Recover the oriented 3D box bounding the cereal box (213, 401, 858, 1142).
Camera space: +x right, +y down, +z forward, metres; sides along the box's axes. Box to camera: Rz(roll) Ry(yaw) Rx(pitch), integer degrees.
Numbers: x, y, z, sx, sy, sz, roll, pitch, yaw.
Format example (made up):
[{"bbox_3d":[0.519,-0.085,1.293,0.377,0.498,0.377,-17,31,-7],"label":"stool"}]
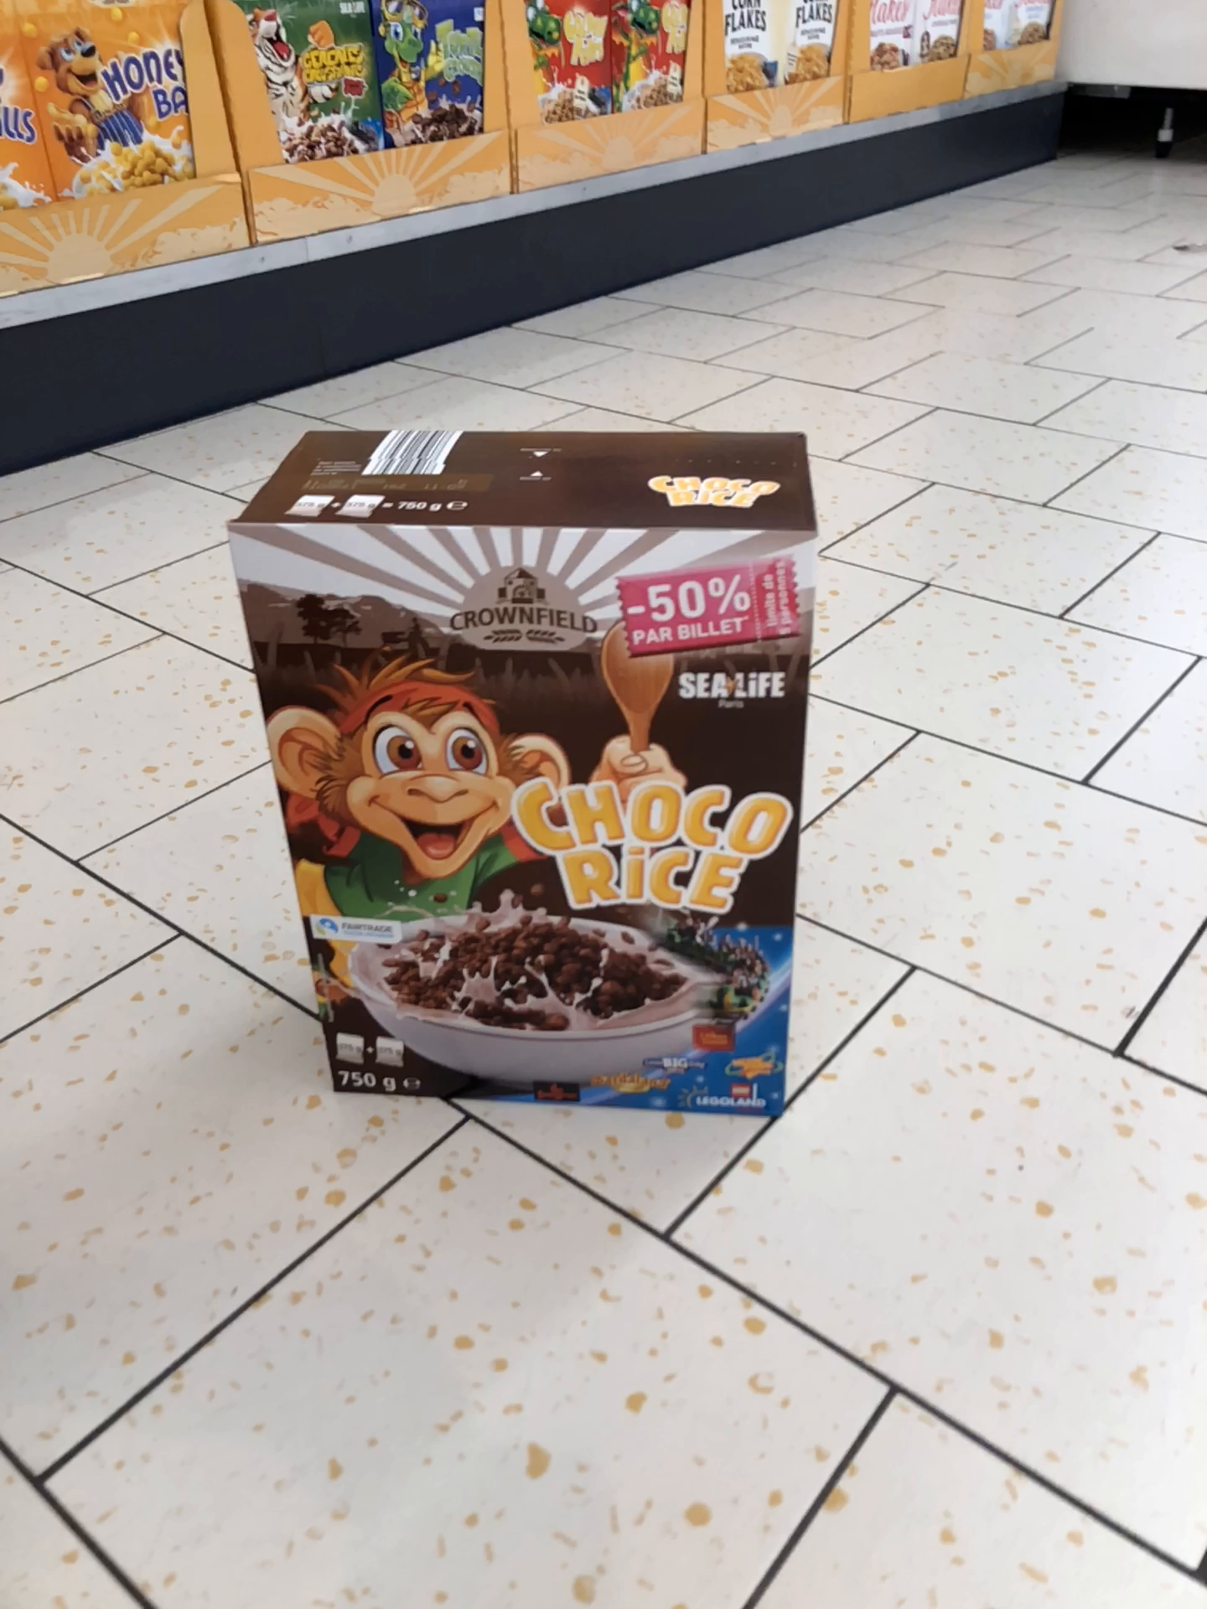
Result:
[{"bbox_3d":[-0.015,-0.008,0.518,0.200,0.268,0.101,2,32,6],"label":"cereal box"}]
